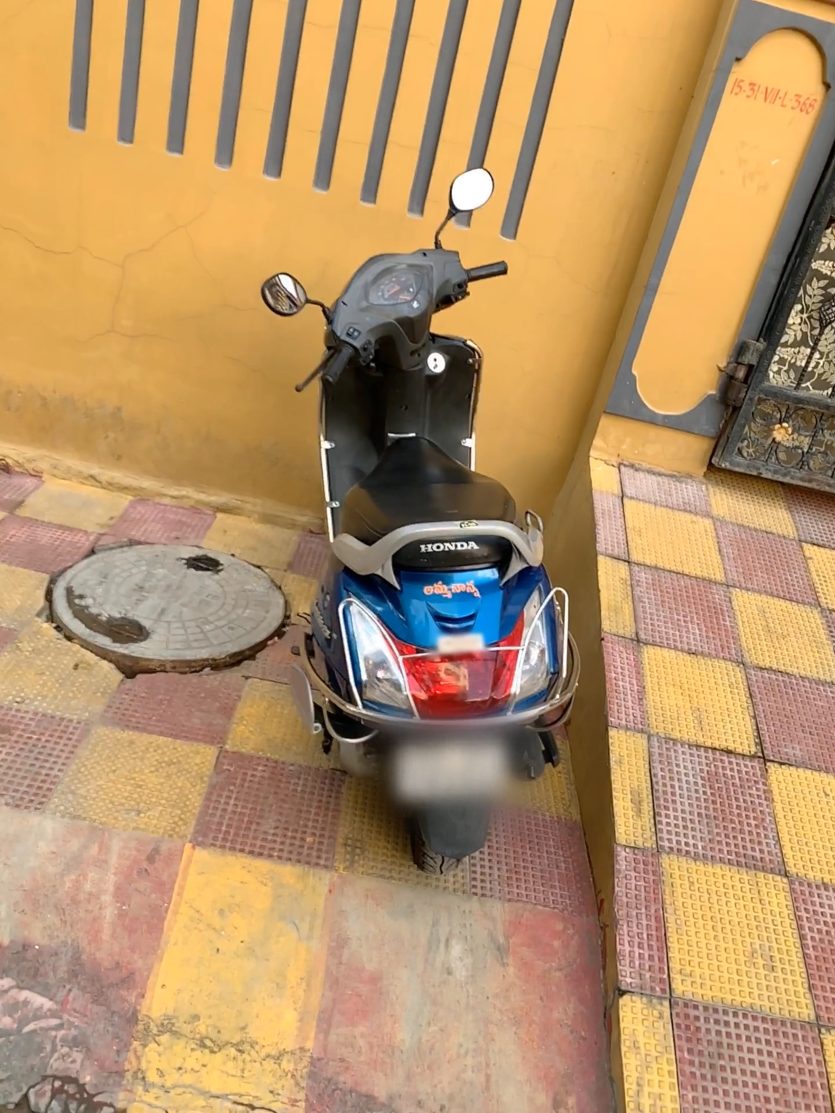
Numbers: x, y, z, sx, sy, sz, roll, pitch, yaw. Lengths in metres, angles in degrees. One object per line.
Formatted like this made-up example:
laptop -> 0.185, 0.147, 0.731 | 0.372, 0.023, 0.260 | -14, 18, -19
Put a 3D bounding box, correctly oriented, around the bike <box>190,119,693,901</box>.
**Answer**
bike -> -0.147, -0.273, 2.060 | 0.596, 1.098, 1.533 | 7, 29, -16
